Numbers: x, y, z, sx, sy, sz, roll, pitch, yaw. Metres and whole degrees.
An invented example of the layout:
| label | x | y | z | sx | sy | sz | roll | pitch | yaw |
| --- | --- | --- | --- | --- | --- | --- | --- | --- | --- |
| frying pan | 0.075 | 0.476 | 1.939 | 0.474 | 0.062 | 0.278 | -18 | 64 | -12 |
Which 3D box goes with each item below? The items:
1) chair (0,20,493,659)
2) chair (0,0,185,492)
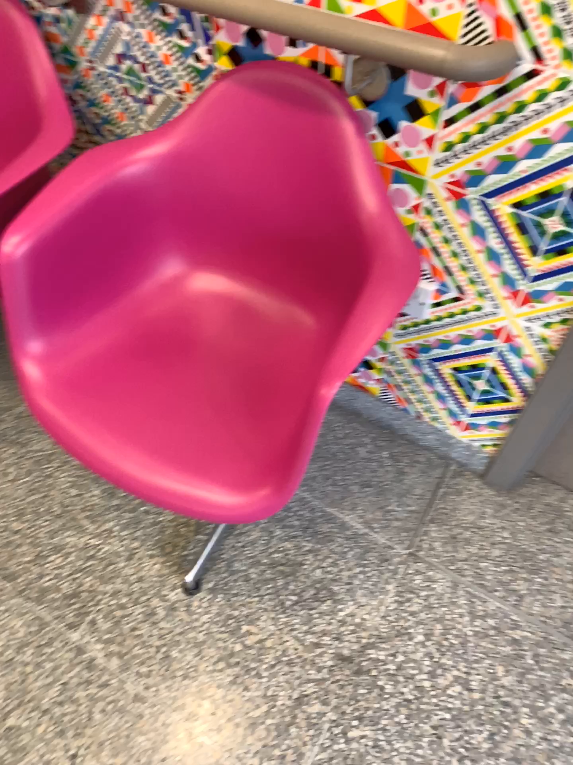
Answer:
| label | x | y | z | sx | sy | sz | roll | pitch | yaw |
| --- | --- | --- | --- | --- | --- | --- | --- | --- | --- |
| chair | -0.106 | -0.037 | 0.995 | 0.521 | 0.763 | 0.604 | 26 | 57 | 19 |
| chair | -0.655 | -0.307 | 1.187 | 0.521 | 0.763 | 0.604 | 26 | 57 | 19 |
